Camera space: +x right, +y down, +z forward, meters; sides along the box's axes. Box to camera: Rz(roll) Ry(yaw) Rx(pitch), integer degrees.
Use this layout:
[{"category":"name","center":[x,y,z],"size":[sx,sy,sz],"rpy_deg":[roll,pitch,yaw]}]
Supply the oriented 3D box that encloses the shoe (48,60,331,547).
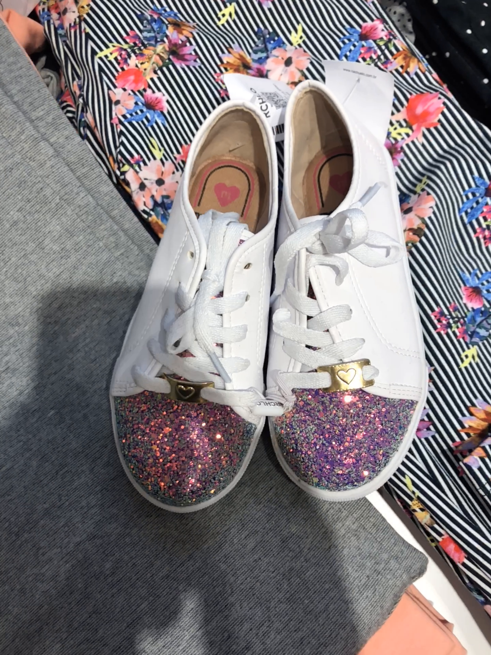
[{"category":"shoe","center":[-0.019,-0.011,0.255],"size":[0.080,0.070,0.190],"rpy_deg":[9,79,1]}]

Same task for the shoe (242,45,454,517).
[{"category":"shoe","center":[0.046,-0.021,0.263],"size":[0.080,0.070,0.200],"rpy_deg":[1,79,7]}]
